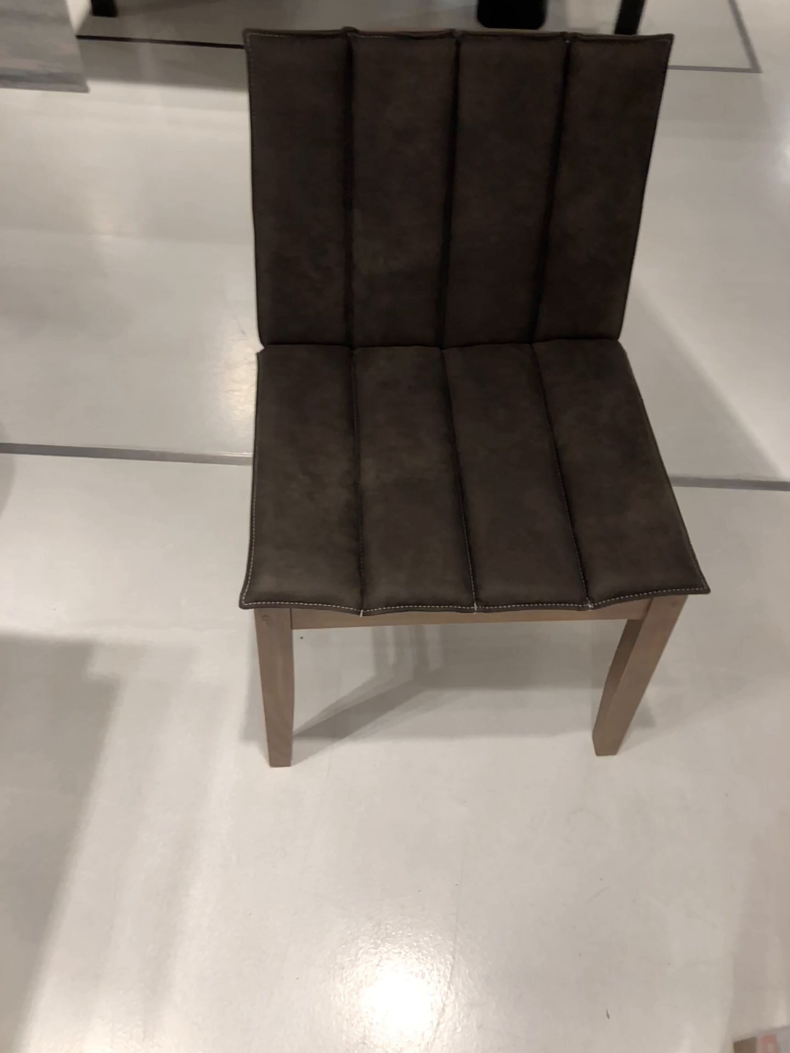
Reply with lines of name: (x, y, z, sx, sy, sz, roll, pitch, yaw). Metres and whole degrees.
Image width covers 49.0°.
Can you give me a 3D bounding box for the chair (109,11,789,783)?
chair: (0.058, -0.096, 1.085, 0.540, 0.775, 0.573, -1, 56, -2)
